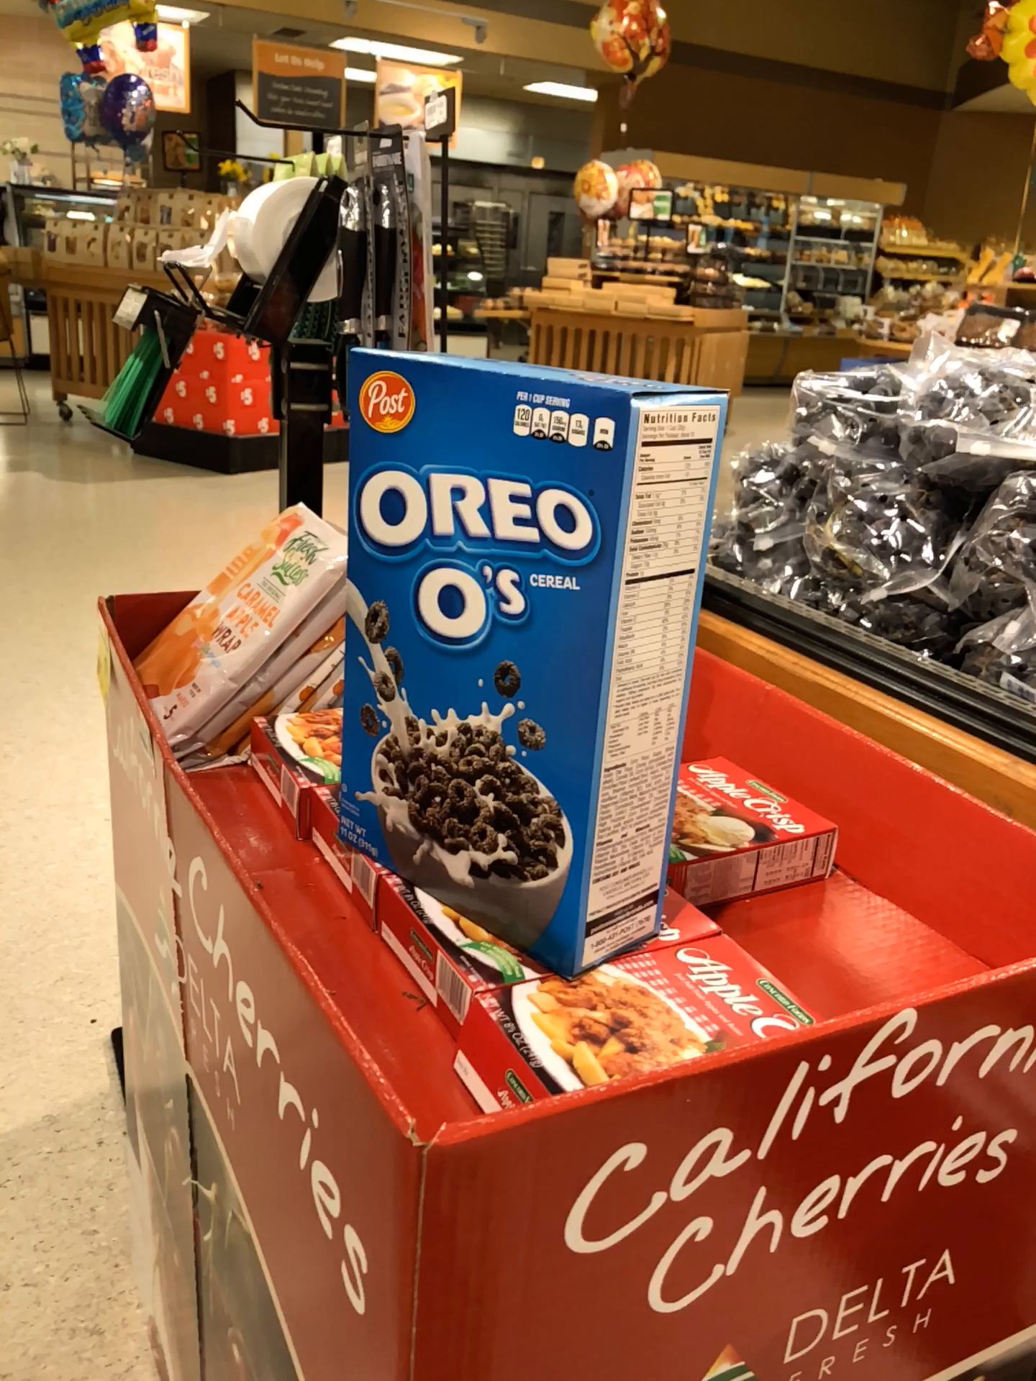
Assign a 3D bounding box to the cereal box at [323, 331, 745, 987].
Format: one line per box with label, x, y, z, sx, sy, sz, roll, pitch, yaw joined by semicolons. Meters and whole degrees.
cereal box;-0.007;-0.028;0.576;0.200;0.278;0.070;21;24;41
